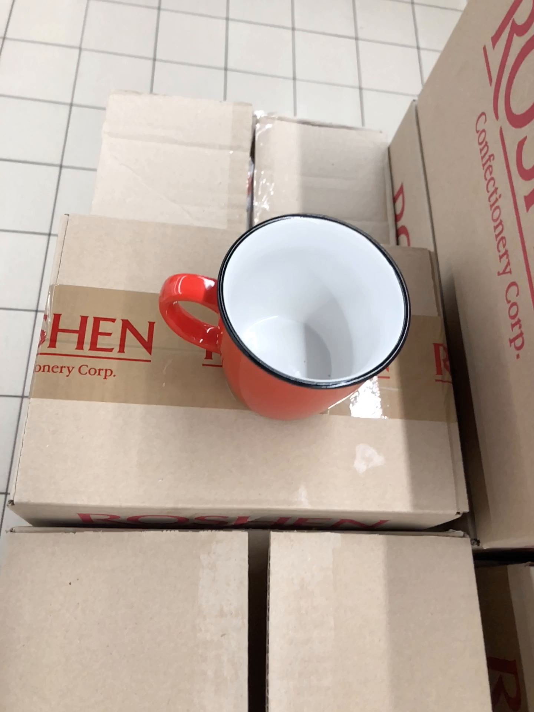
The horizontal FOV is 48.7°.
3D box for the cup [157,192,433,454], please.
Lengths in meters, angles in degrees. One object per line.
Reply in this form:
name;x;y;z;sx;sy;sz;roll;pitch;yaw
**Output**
cup;0.012;-0.011;0.324;0.127;0.090;0.096;9;67;-7
